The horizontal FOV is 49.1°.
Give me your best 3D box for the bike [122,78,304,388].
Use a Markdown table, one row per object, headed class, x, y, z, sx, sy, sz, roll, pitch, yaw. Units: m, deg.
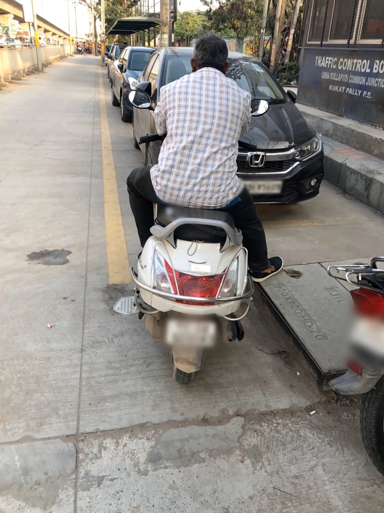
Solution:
| class | x | y | z | sx | sy | sz | roll | pitch | yaw |
| --- | --- | --- | --- | --- | --- | --- | --- | --- | --- |
| bike | 0.076 | -0.294 | 2.311 | 0.640 | 0.858 | 1.609 | 2 | 34 | -1 |
